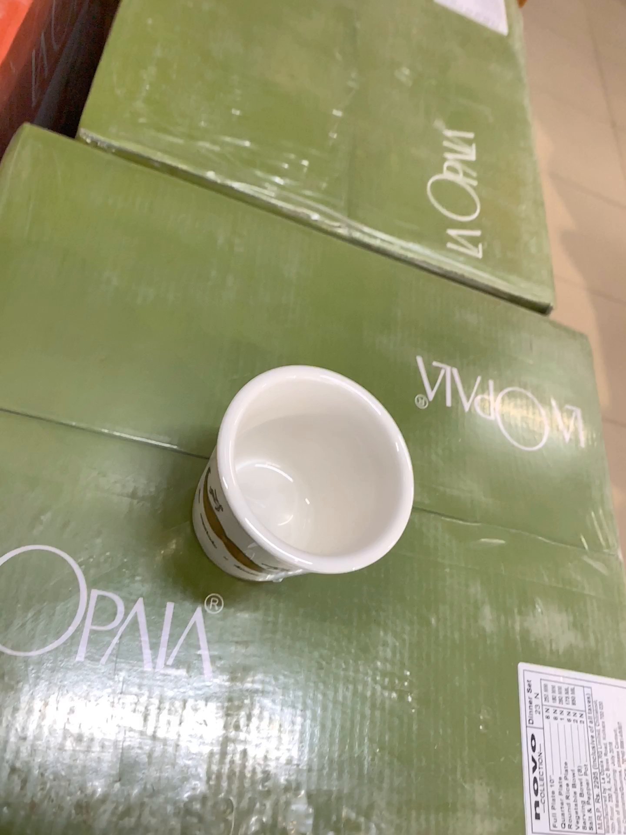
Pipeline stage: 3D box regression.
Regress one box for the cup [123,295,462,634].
[{"bbox_3d":[-0.008,0.017,0.219,0.070,0.060,0.070,11,61,-20],"label":"cup"}]
